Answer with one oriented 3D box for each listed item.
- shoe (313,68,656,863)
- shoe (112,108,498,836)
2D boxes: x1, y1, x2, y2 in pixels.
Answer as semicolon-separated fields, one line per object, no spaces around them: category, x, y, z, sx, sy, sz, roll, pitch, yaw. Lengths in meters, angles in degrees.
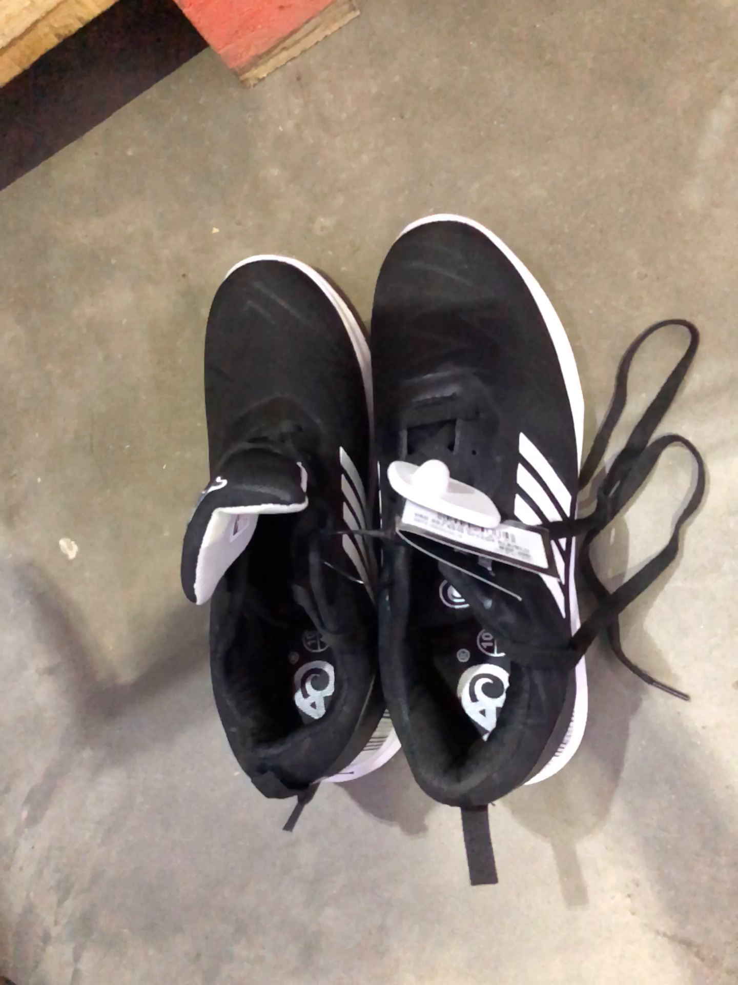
shoe;0.059;-0.008;0.396;0.110;0.130;0.320;-8;78;19
shoe;-0.034;-0.008;0.443;0.120;0.130;0.330;-14;76;18
